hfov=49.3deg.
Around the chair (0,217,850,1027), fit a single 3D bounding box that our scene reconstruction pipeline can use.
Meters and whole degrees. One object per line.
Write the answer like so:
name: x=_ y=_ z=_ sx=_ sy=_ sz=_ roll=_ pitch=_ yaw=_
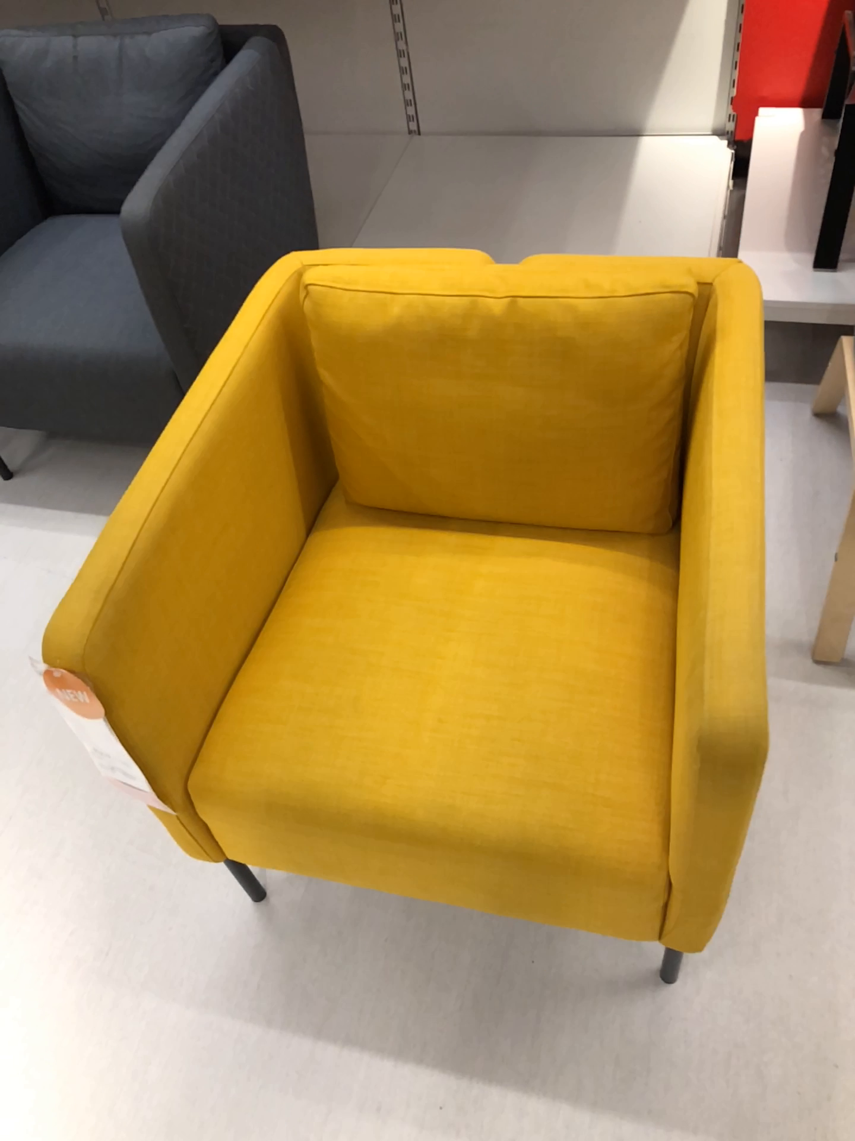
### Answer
chair: x=0.059 y=0.055 z=1.181 sx=0.721 sy=0.696 sz=0.663 roll=6 pitch=52 yaw=14
